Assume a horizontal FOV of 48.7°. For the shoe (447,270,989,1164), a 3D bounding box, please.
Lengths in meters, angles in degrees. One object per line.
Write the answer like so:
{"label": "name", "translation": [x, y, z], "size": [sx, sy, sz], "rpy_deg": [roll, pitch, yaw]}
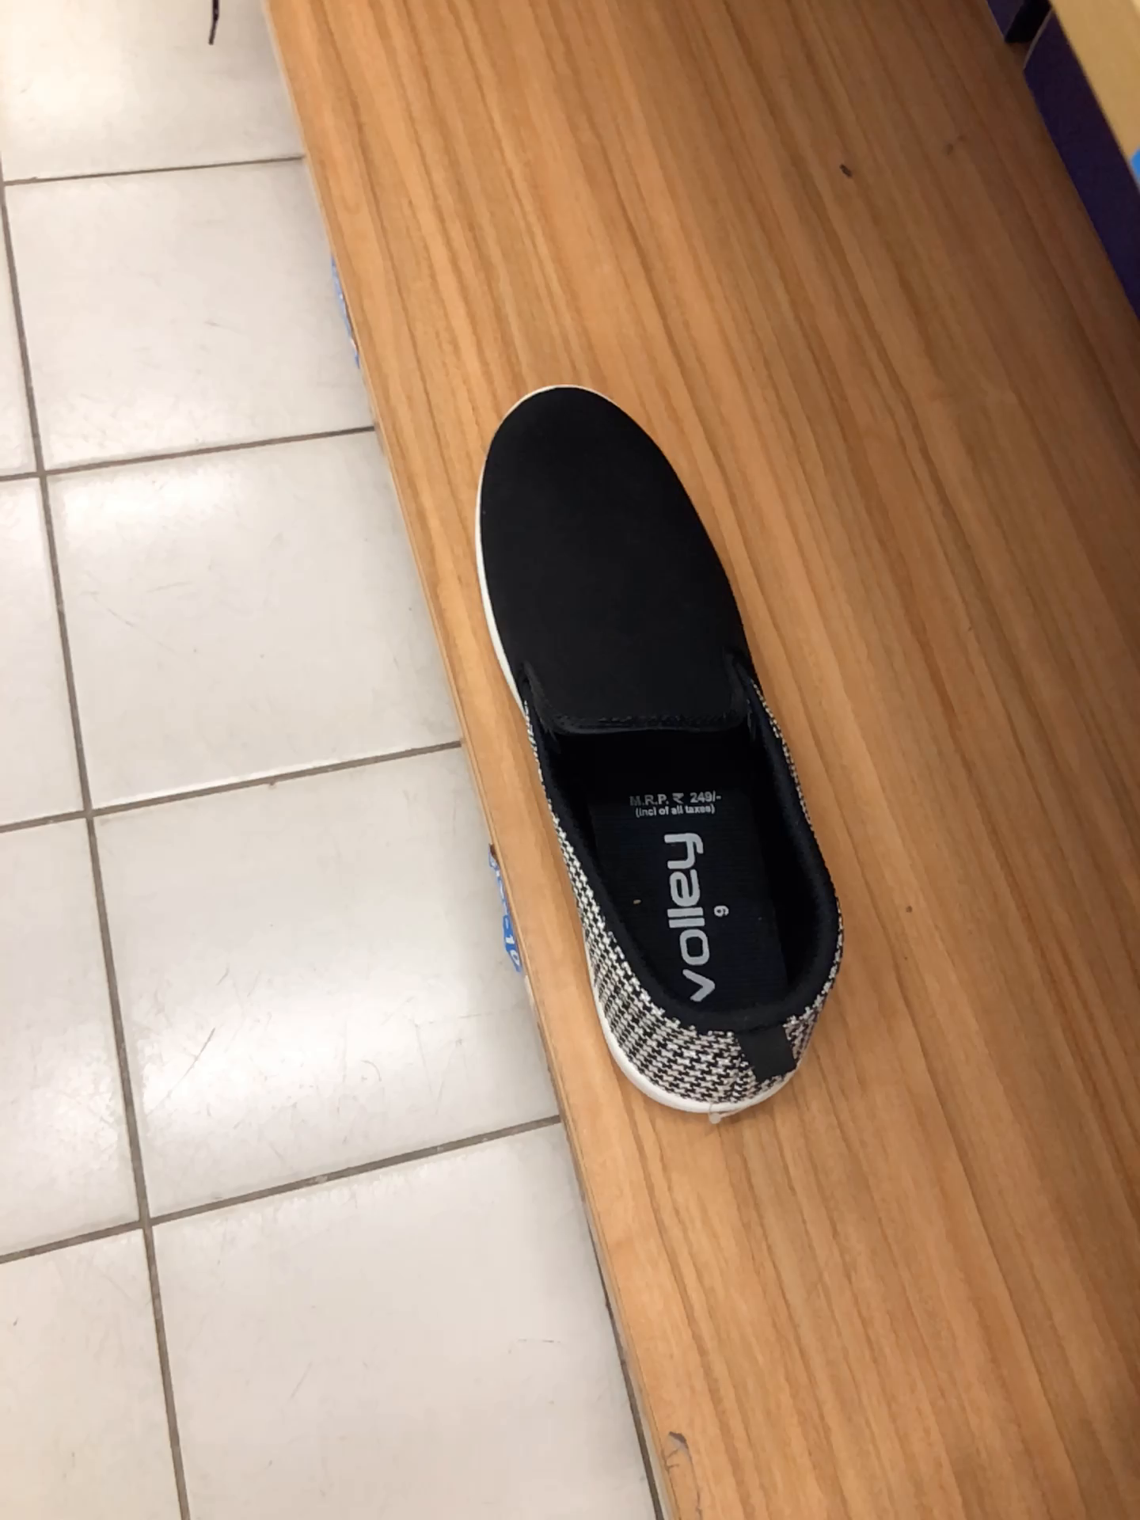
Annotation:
{"label": "shoe", "translation": [0.036, -0.019, 0.445], "size": [0.100, 0.090, 0.290], "rpy_deg": [-10, 73, -11]}
